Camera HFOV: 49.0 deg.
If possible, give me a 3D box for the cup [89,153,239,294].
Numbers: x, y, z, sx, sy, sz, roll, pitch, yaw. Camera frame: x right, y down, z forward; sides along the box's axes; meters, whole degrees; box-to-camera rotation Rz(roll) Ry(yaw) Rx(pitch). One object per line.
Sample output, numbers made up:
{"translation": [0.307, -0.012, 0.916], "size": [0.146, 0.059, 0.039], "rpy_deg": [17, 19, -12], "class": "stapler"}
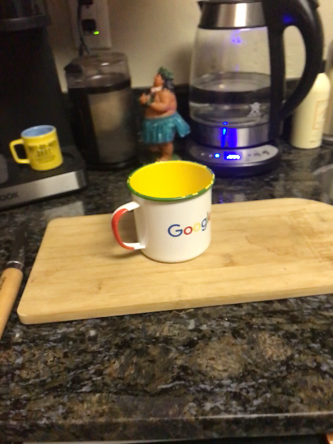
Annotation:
{"translation": [-0.002, -0.006, 0.419], "size": [0.130, 0.089, 0.100], "rpy_deg": [-21, 36, -24], "class": "cup"}
